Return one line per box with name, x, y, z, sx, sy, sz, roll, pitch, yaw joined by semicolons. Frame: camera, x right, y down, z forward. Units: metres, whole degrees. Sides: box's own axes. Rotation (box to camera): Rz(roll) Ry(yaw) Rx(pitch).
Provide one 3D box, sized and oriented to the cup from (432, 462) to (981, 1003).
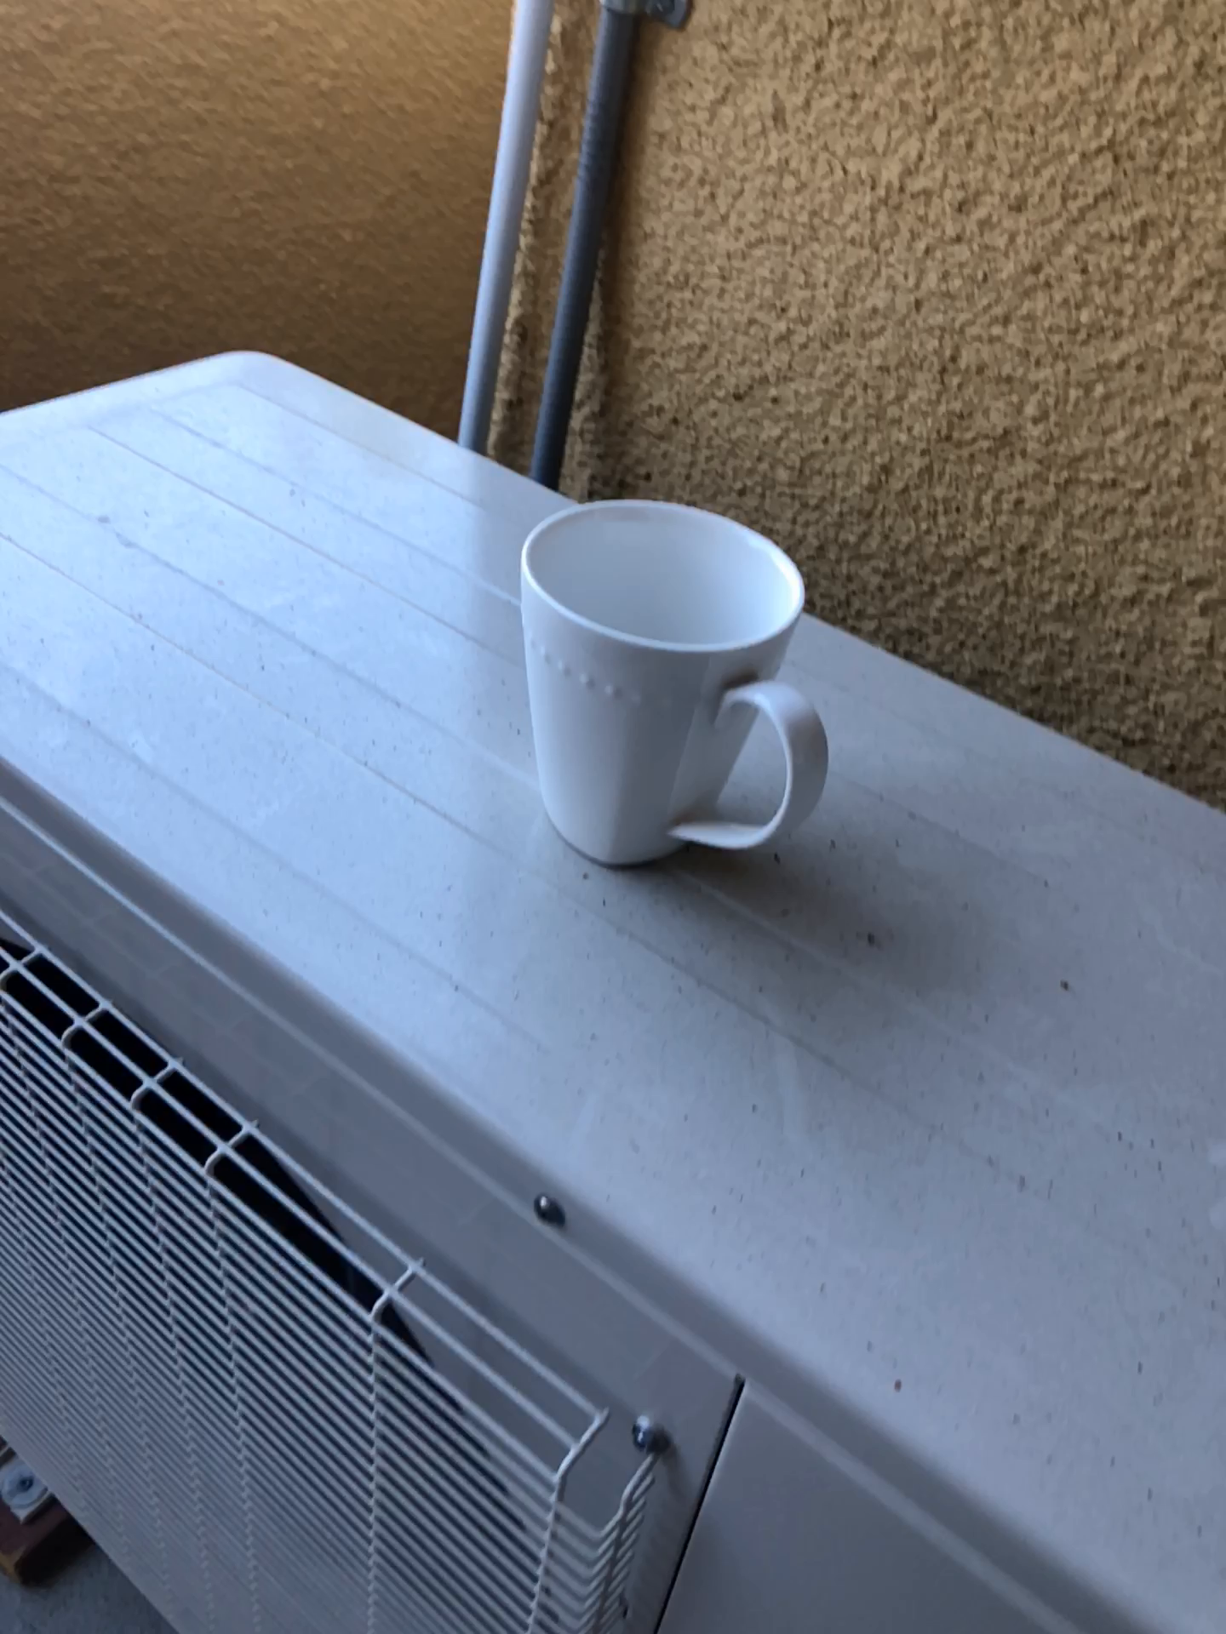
cup;0.024;-0.035;0.460;0.100;0.099;0.140;-23;50;-35
